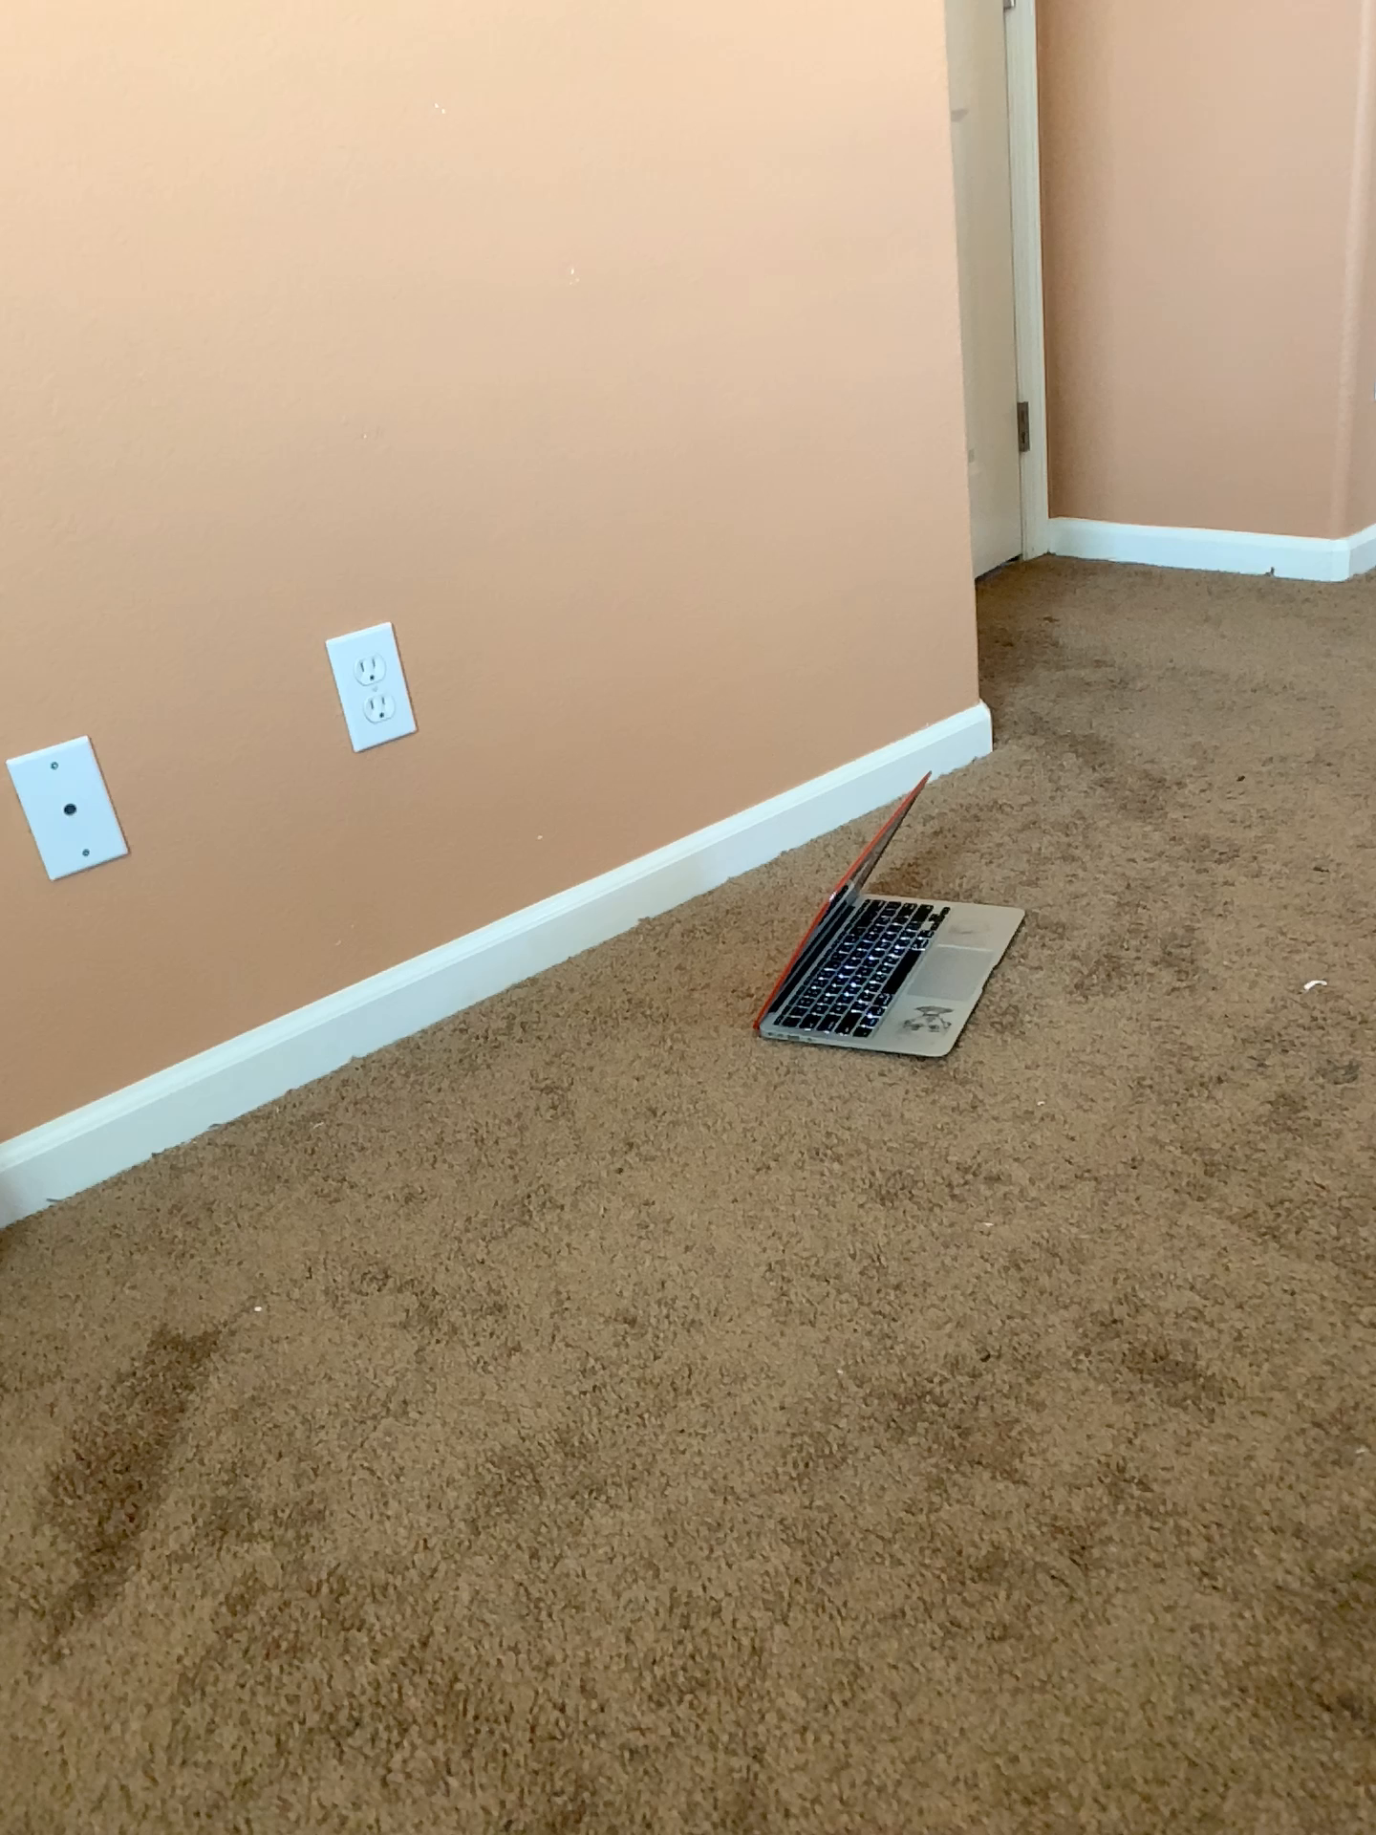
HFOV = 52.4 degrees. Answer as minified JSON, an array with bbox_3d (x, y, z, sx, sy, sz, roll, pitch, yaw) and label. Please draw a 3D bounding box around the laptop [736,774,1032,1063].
[{"bbox_3d":[0.205,-0.012,1.379,0.193,0.148,0.300,5,29,26],"label":"laptop"}]
